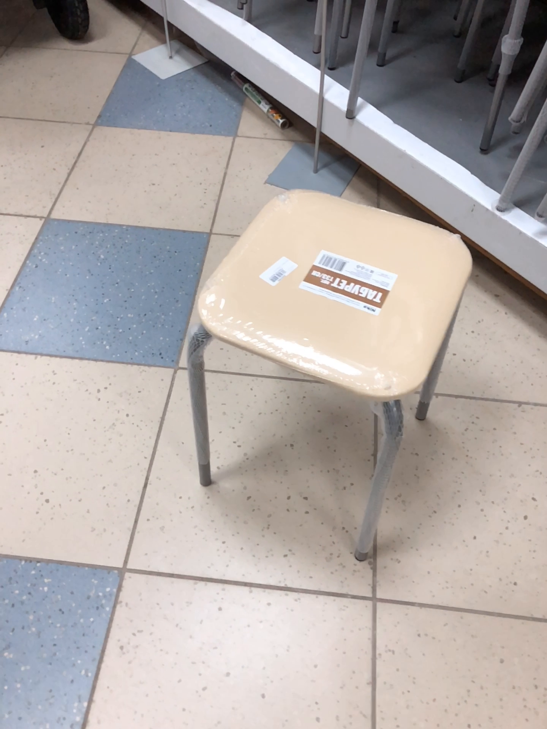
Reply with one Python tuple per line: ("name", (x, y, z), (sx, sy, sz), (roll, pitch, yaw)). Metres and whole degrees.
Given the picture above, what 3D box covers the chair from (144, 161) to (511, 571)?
("chair", (0.073, 0.018, 0.887), (0.340, 0.437, 0.312), (23, 56, 15))
